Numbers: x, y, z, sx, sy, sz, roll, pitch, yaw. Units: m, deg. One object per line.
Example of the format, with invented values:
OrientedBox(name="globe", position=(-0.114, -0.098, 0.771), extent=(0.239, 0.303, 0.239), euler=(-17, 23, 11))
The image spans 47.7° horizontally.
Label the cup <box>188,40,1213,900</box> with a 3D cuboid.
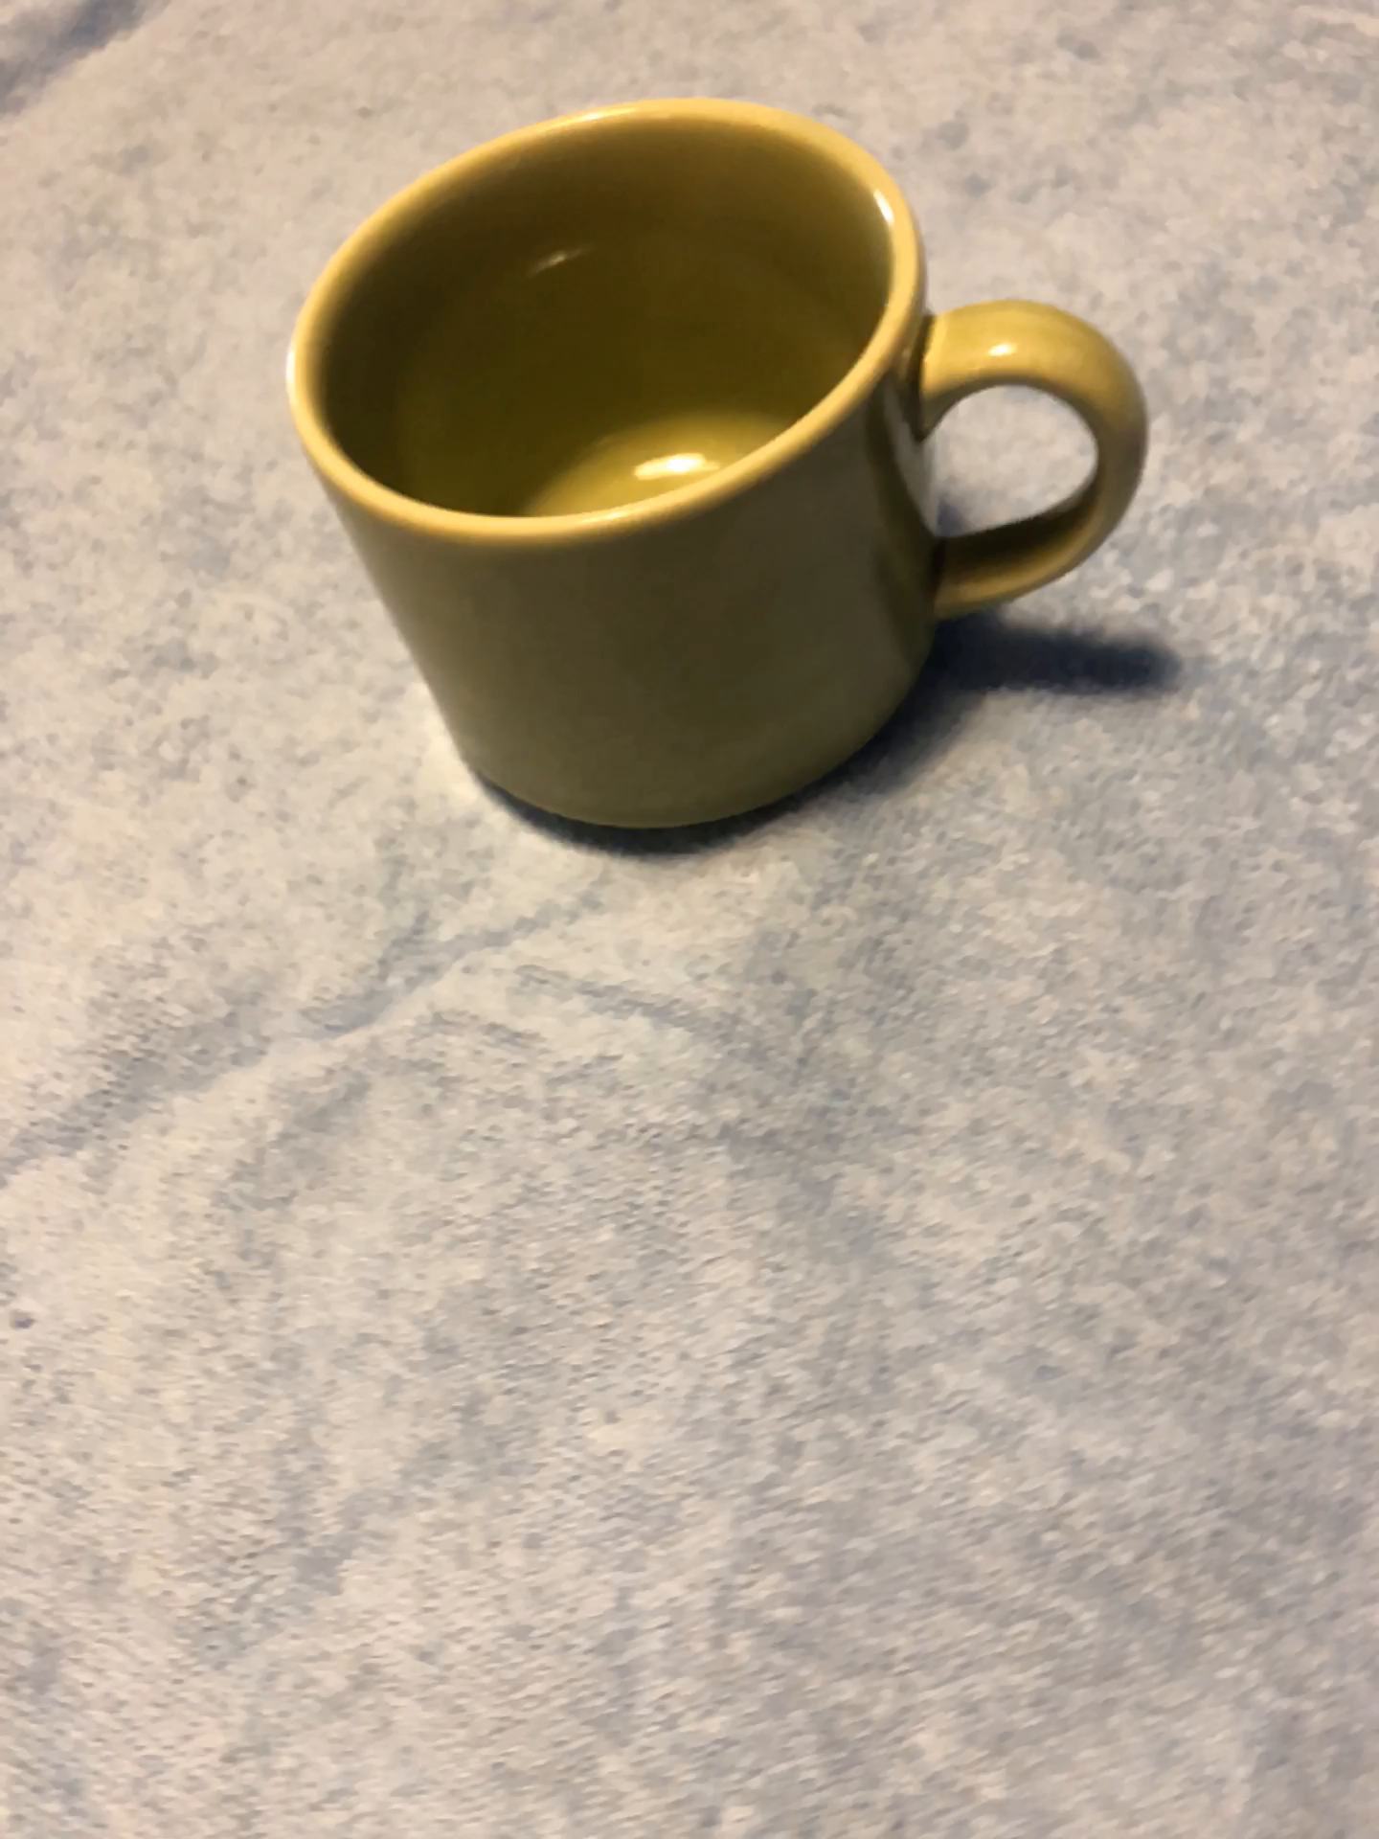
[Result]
OrientedBox(name="cup", position=(0.009, -0.060, 0.211), extent=(0.110, 0.060, 0.090), euler=(4, 60, 13))
